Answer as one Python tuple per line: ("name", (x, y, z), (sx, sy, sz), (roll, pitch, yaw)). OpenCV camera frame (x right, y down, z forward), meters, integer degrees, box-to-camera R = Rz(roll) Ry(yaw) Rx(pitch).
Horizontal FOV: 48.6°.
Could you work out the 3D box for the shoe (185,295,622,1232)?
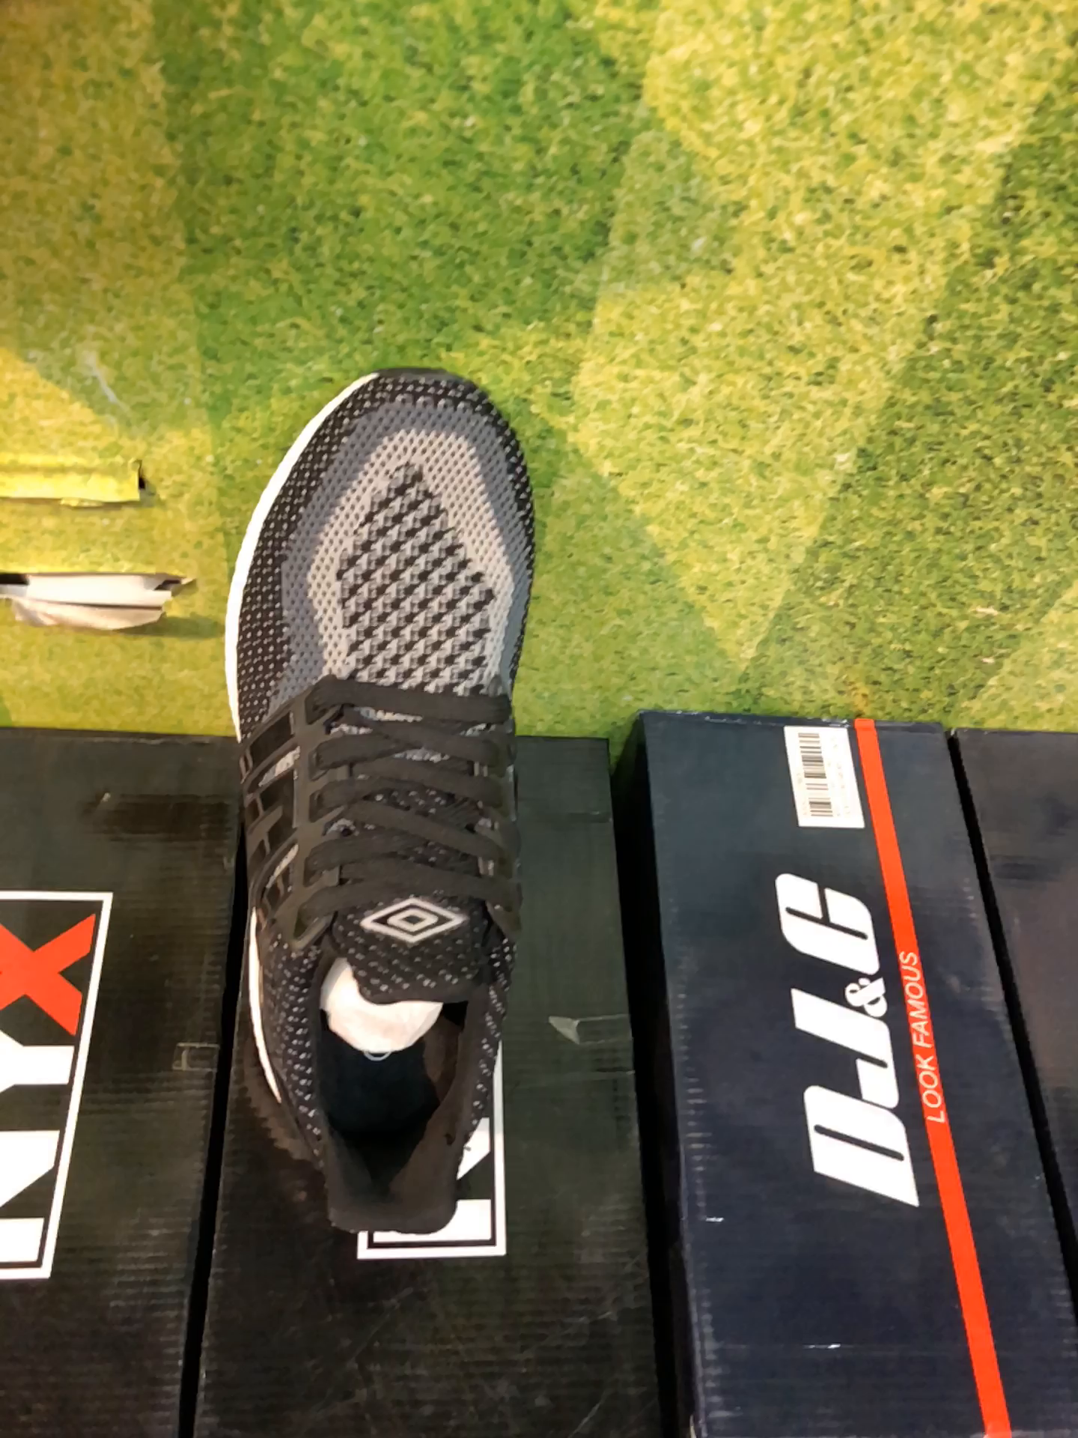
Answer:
("shoe", (-0.057, 0.010, 0.410), (0.111, 0.122, 0.268), (1, 100, -20))
